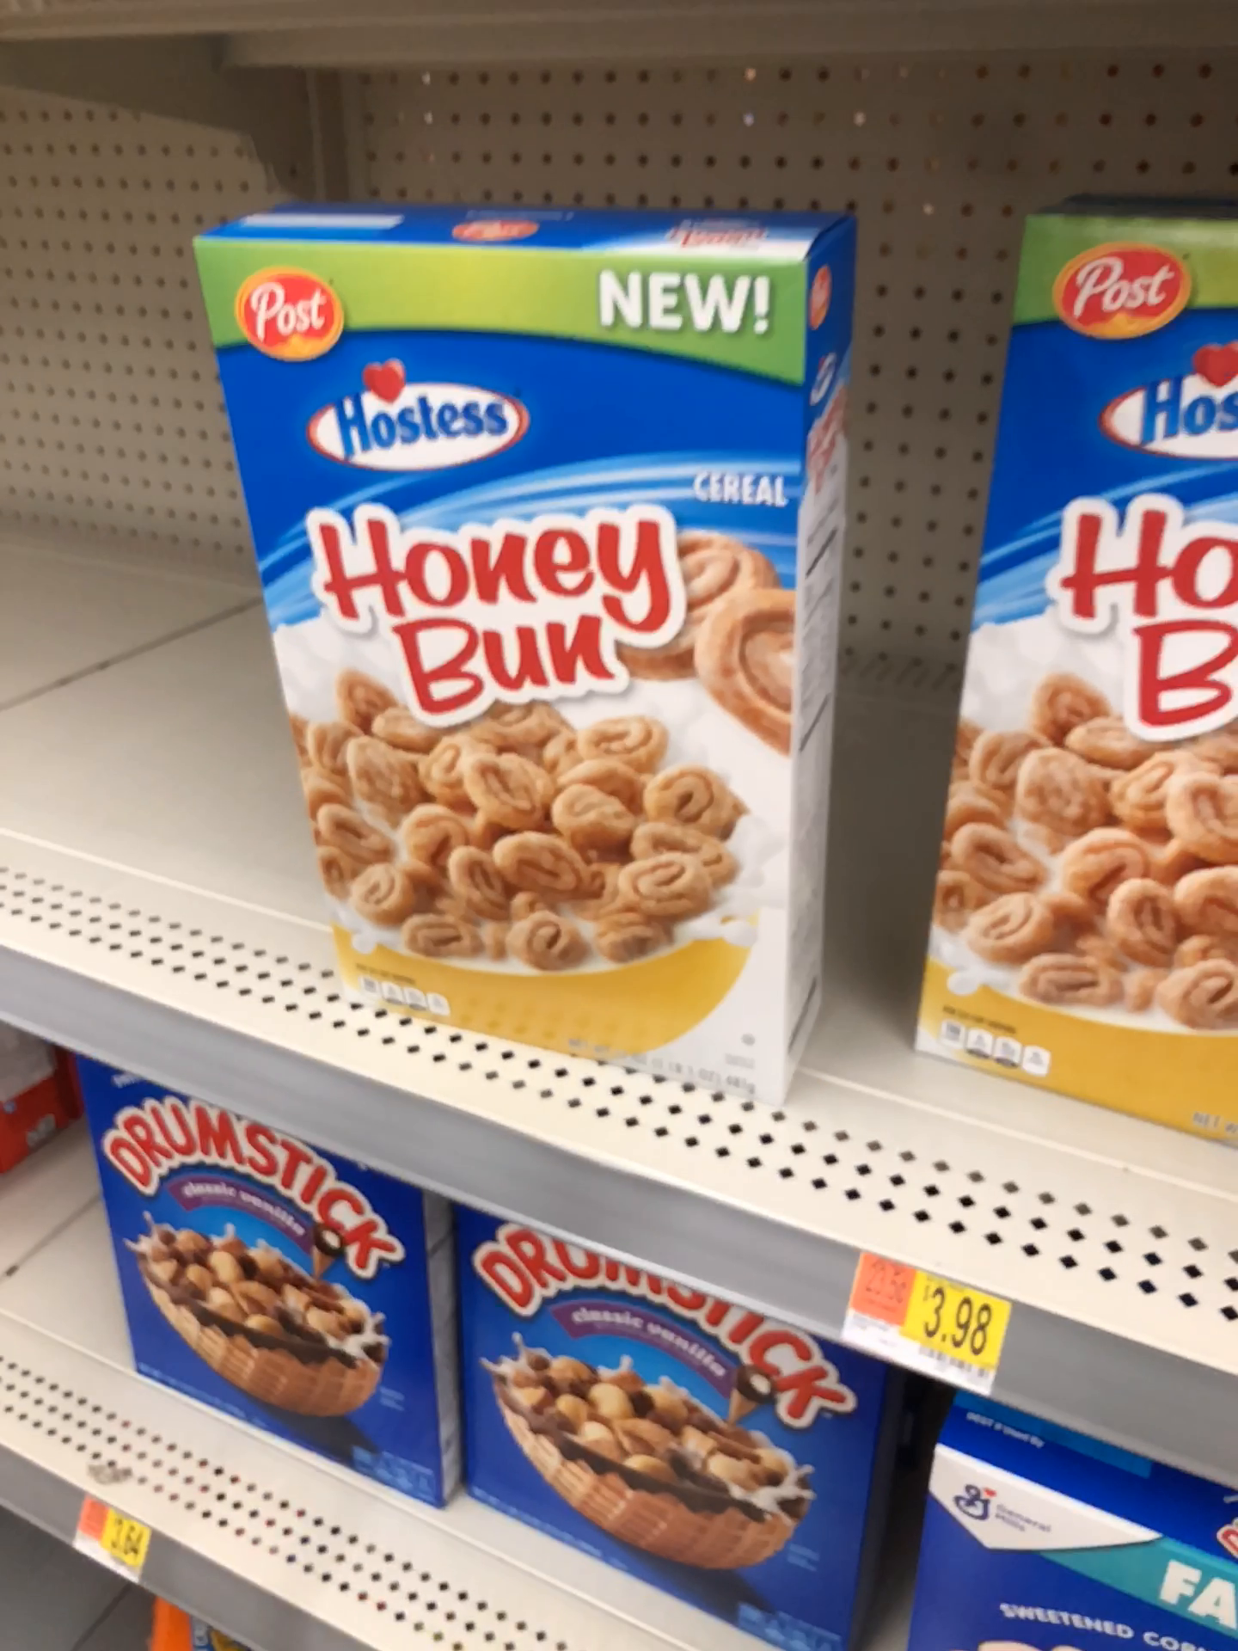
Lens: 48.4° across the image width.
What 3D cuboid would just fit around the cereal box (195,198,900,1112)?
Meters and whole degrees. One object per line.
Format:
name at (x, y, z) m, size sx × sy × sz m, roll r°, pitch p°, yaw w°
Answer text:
cereal box at (-0.016, -0.055, 0.491) m, size 0.200 × 0.299 × 0.070 m, roll 10°, pitch 35°, yaw 20°
